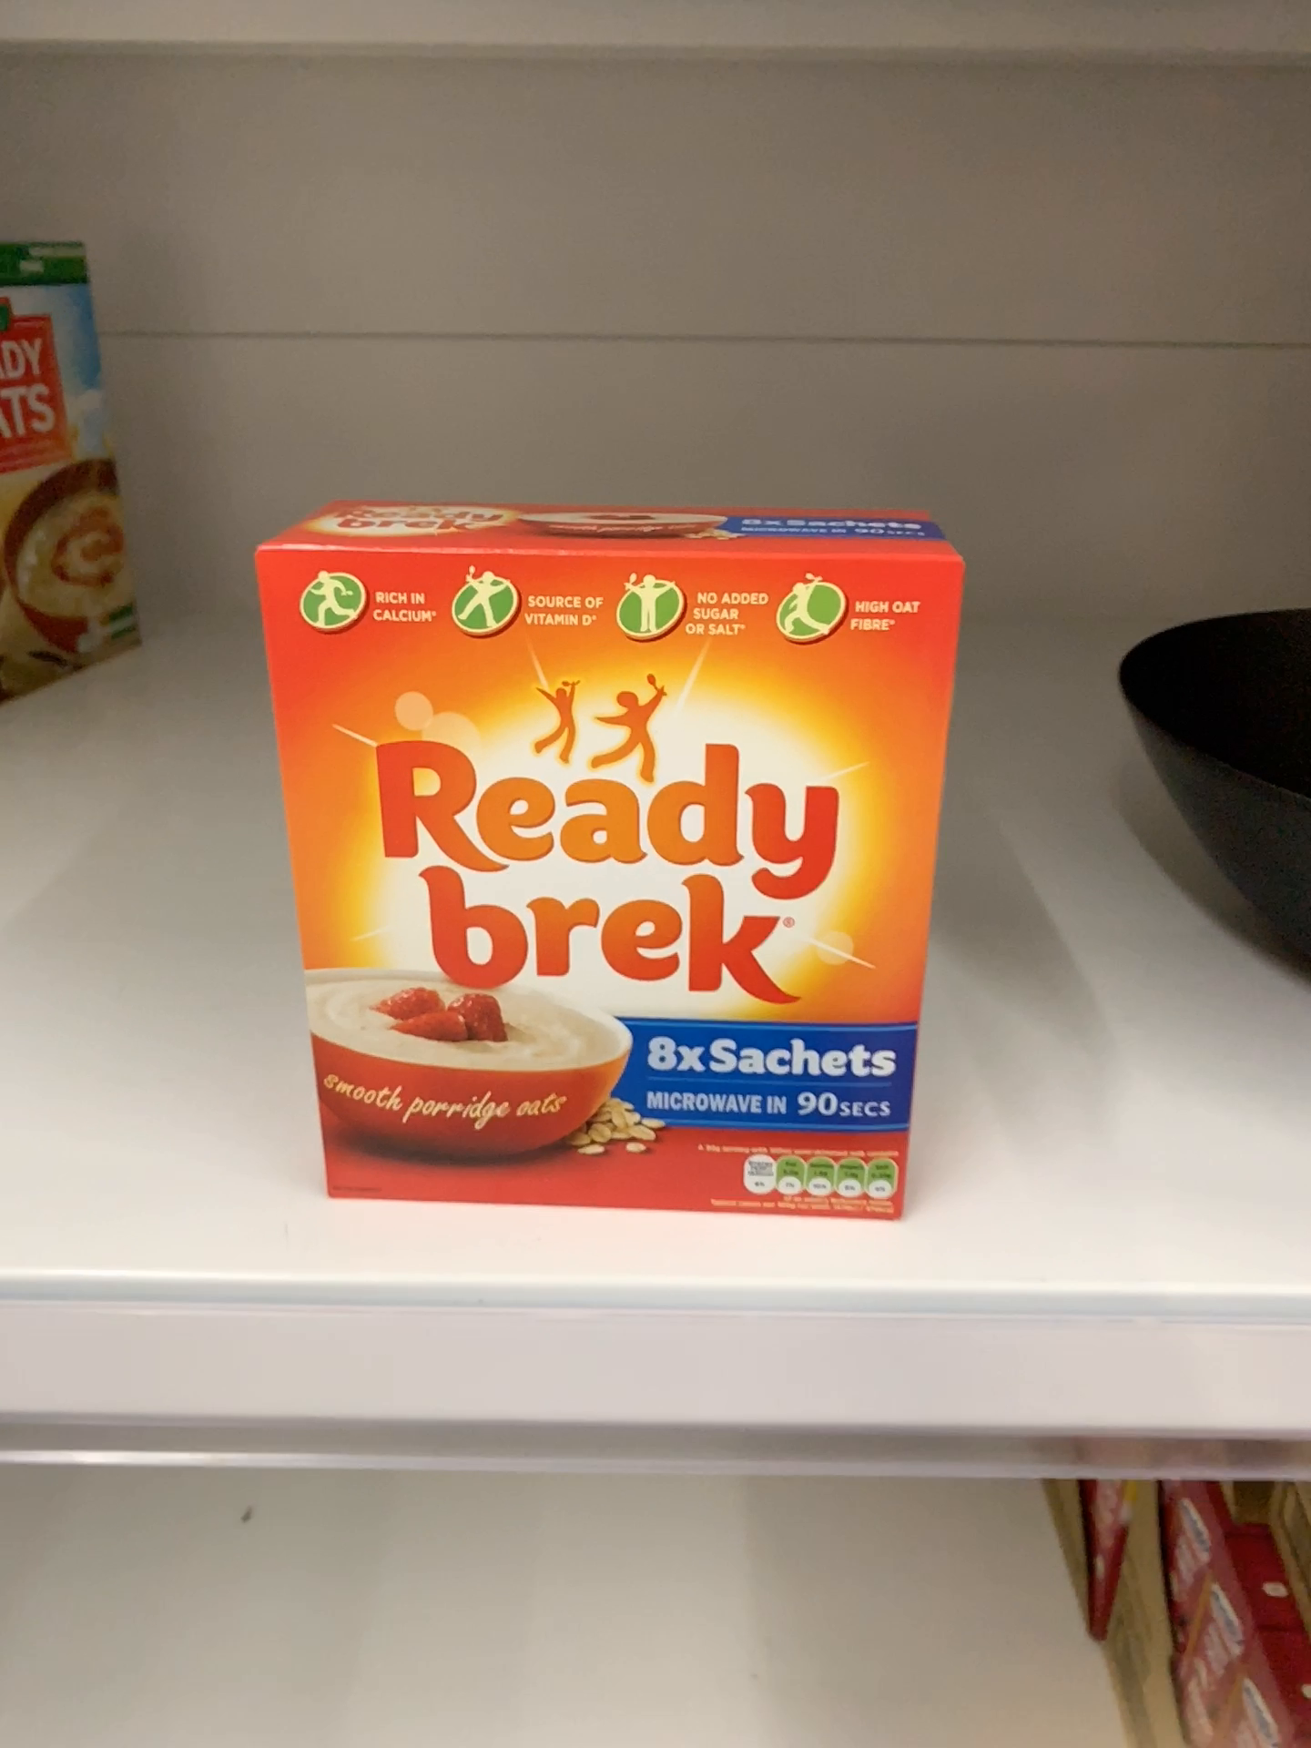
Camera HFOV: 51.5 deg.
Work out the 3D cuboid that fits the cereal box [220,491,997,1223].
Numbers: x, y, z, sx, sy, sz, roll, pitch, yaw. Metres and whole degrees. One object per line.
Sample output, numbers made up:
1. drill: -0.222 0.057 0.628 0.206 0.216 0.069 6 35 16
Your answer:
1. cereal box: -0.011 -0.004 0.385 0.180 0.188 0.071 2 24 2
